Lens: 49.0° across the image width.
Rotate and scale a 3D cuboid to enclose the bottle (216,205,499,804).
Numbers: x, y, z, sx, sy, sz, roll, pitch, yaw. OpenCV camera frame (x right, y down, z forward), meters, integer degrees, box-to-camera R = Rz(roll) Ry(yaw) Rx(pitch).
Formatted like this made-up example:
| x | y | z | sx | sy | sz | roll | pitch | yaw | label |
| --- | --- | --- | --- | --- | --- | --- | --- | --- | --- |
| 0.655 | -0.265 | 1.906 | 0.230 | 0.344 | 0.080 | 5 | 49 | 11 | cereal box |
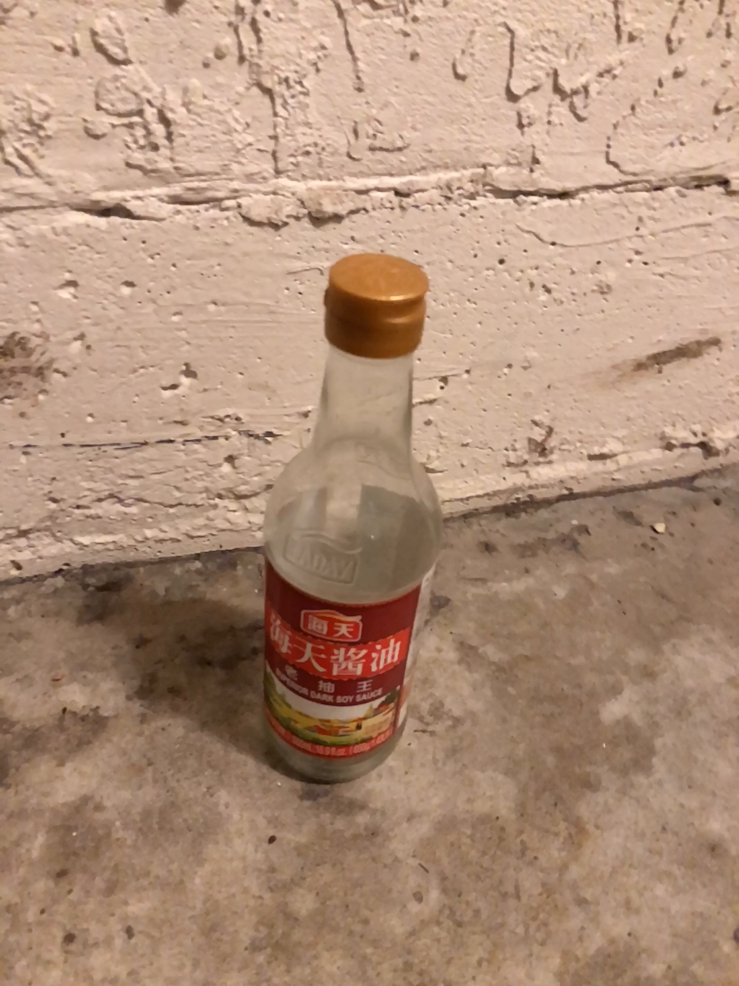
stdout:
| x | y | z | sx | sy | sz | roll | pitch | yaw | label |
| --- | --- | --- | --- | --- | --- | --- | --- | --- | --- |
| -0.006 | 0.021 | 0.308 | 0.070 | 0.228 | 0.070 | 3 | 41 | -2 | bottle |
